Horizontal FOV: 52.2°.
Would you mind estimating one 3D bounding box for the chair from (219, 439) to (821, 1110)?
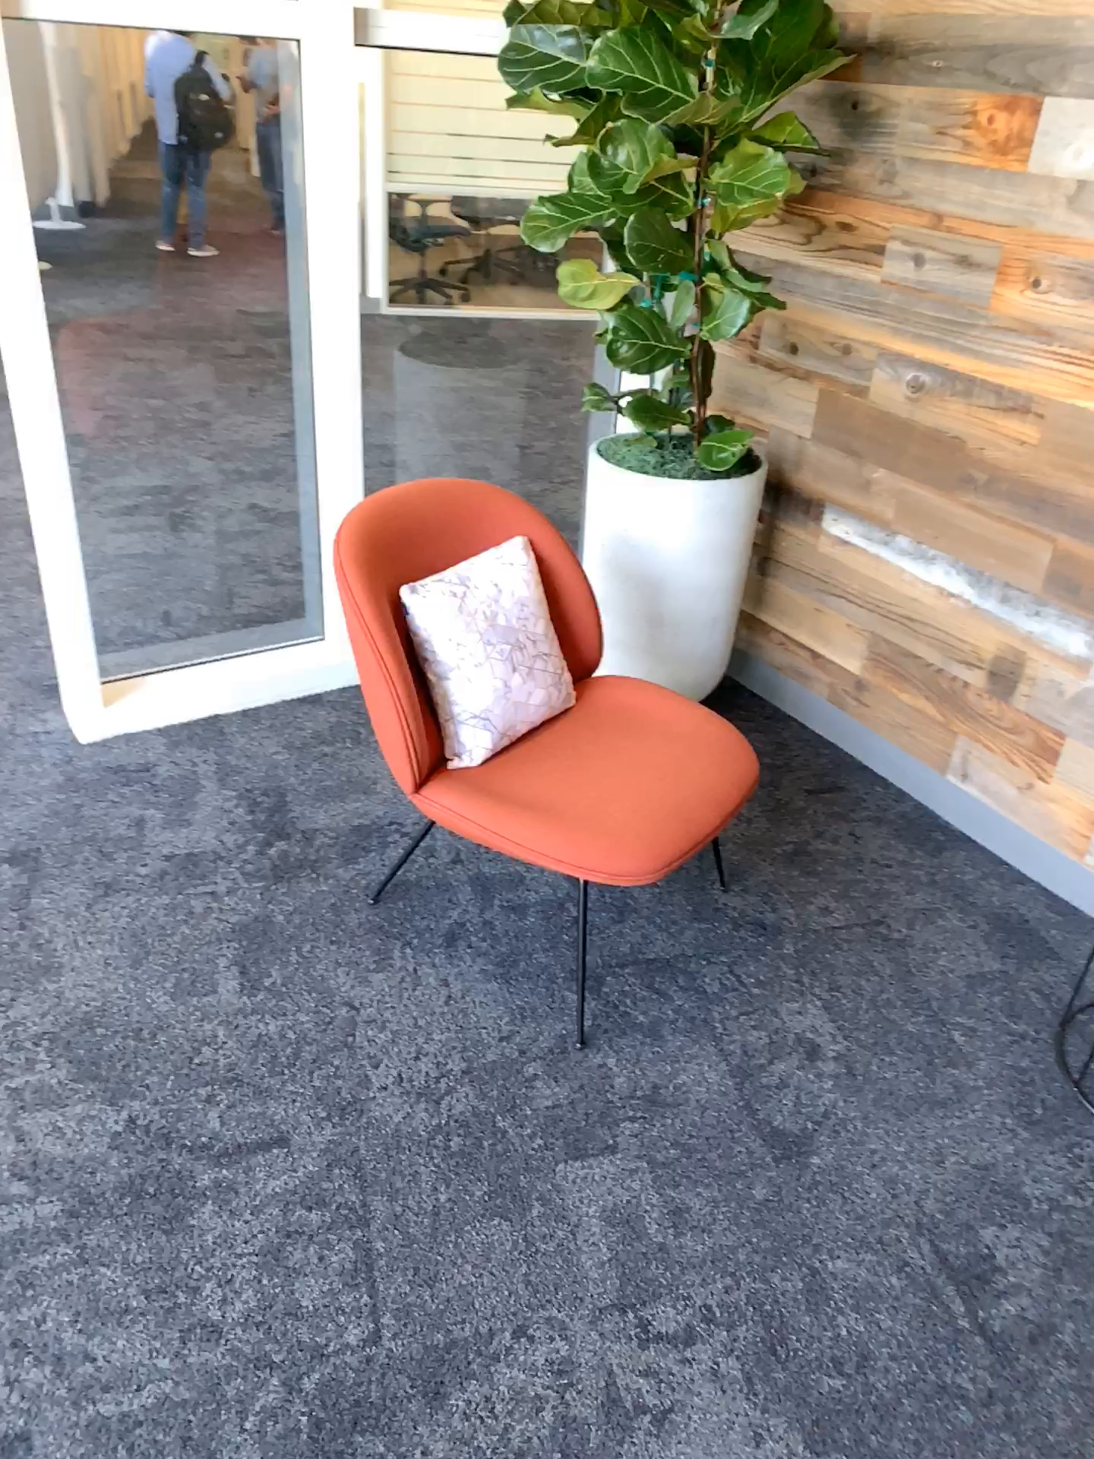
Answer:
[{"bbox_3d":[-0.048,0.016,2.019,0.702,0.795,0.702,23,36,29],"label":"chair"}]
